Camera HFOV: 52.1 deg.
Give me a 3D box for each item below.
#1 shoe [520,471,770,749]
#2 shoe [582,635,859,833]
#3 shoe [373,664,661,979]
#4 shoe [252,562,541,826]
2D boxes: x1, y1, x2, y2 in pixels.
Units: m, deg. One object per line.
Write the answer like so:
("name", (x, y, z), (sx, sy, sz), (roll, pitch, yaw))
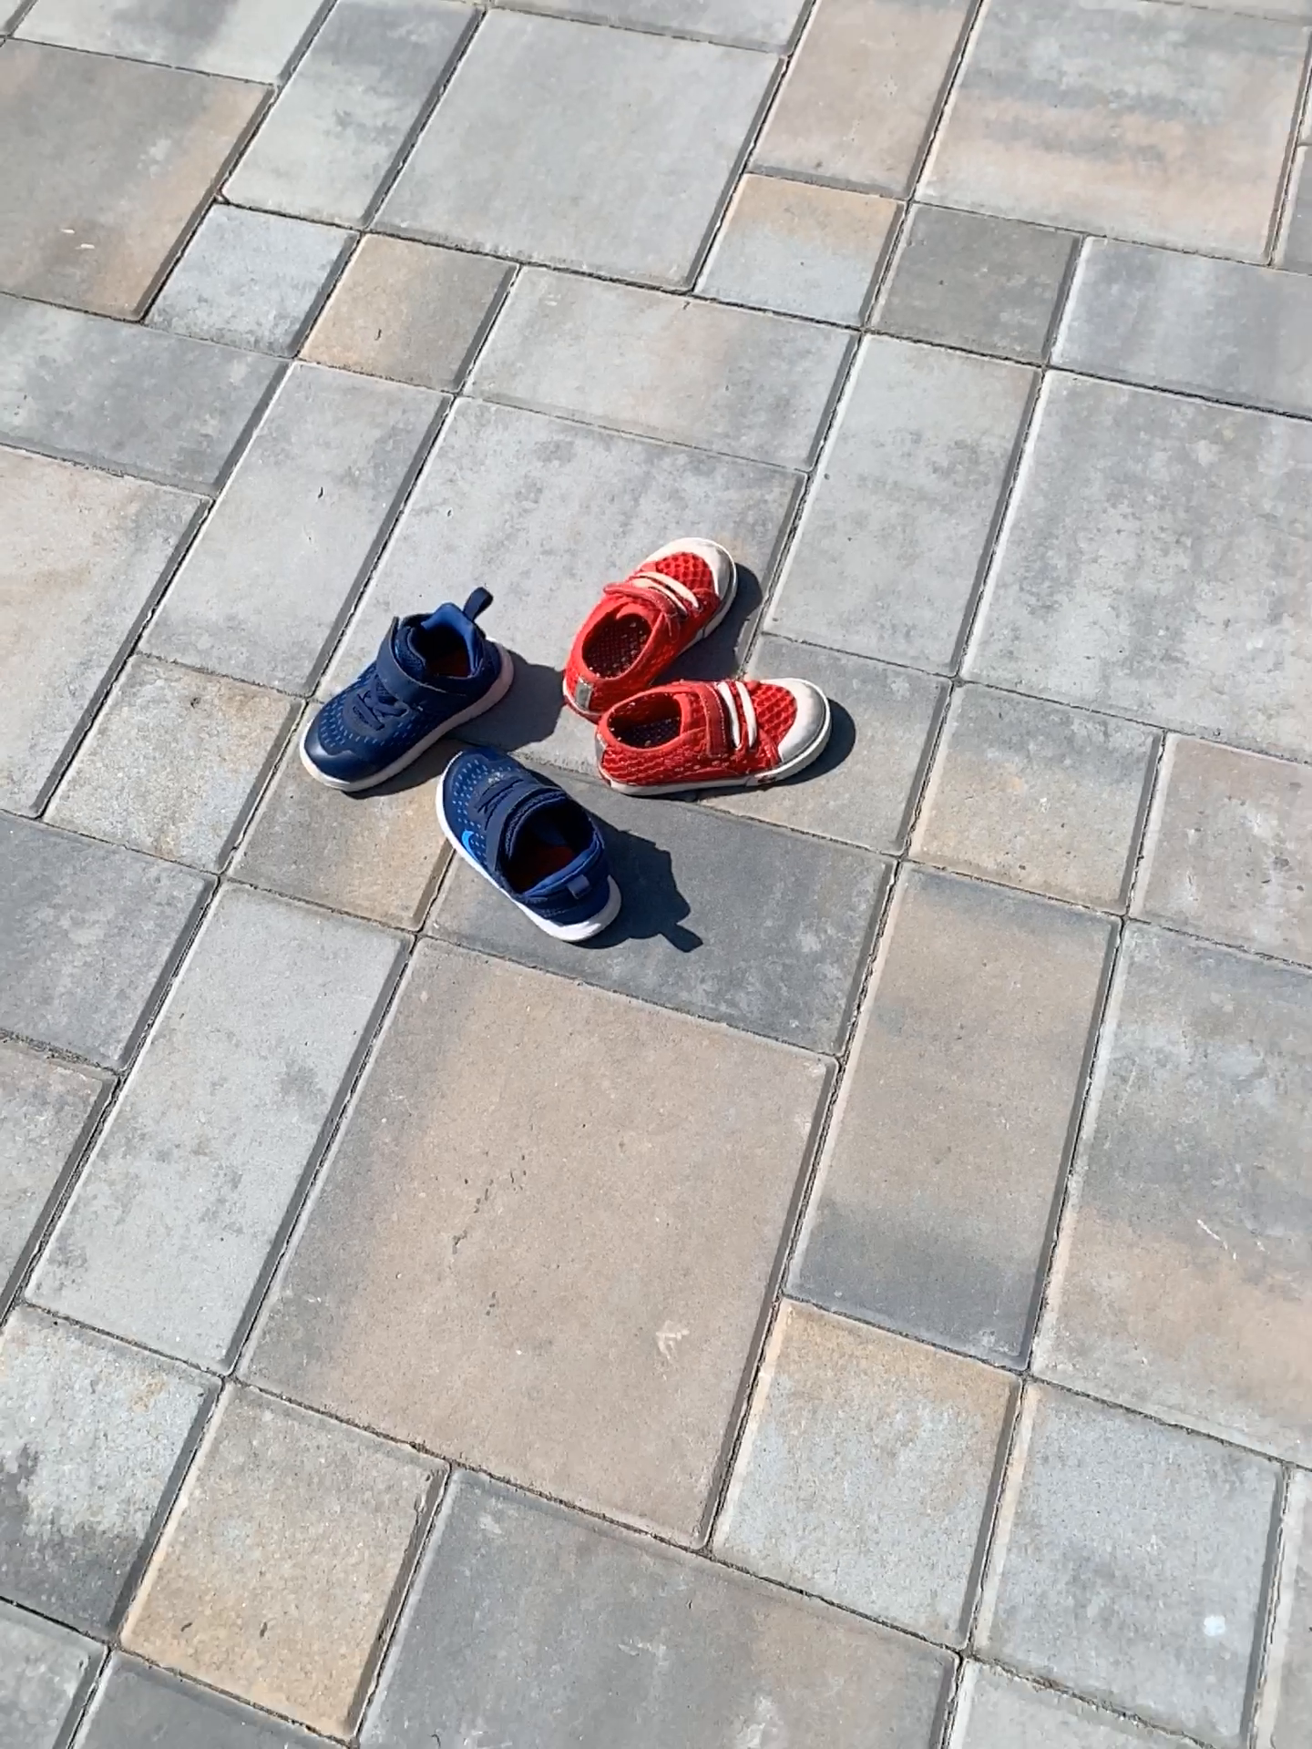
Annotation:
("shoe", (-0.004, -0.185, 0.938), (0.080, 0.070, 0.170), (35, 73, 17))
("shoe", (0.043, -0.096, 0.924), (0.170, 0.070, 0.080), (-12, 66, -2))
("shoe", (-0.092, -0.036, 0.909), (0.090, 0.090, 0.180), (-39, 70, -13))
("shoe", (-0.176, -0.125, 0.930), (0.170, 0.070, 0.080), (-36, 69, -12))
